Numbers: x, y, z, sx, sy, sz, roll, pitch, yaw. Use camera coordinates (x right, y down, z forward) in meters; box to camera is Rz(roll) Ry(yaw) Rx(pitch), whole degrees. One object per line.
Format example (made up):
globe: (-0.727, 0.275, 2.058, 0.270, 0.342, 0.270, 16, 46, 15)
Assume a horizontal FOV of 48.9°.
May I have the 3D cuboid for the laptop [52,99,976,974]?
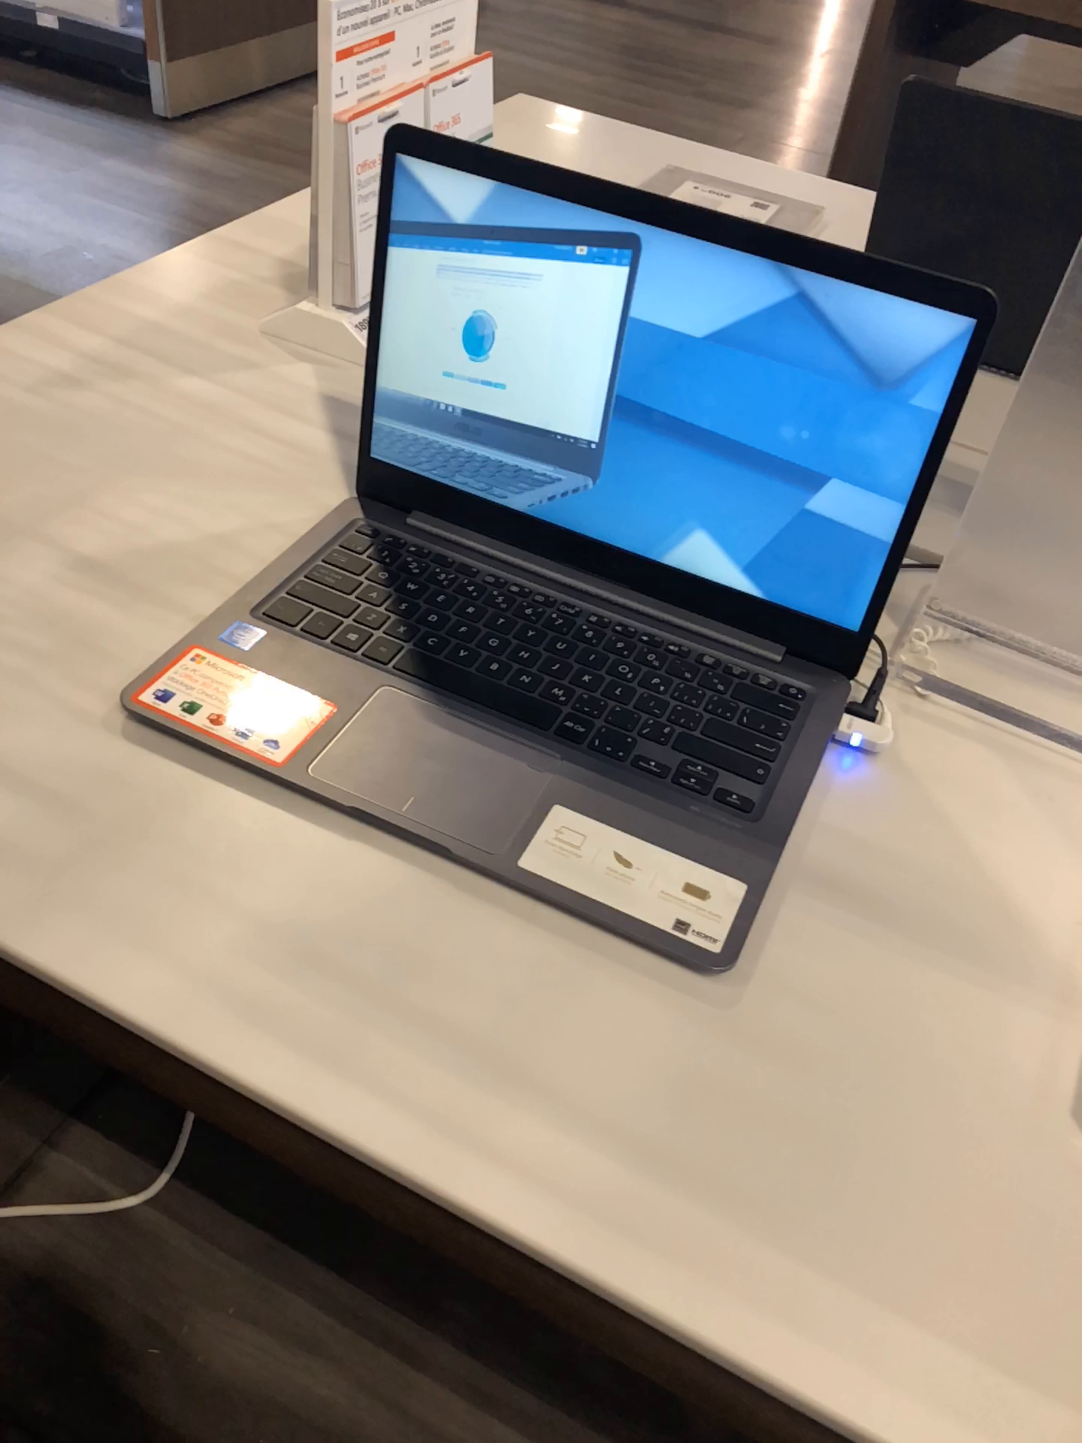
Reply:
laptop: (0.001, -0.119, 0.597, 0.333, 0.180, 0.301, 21, 49, 12)
